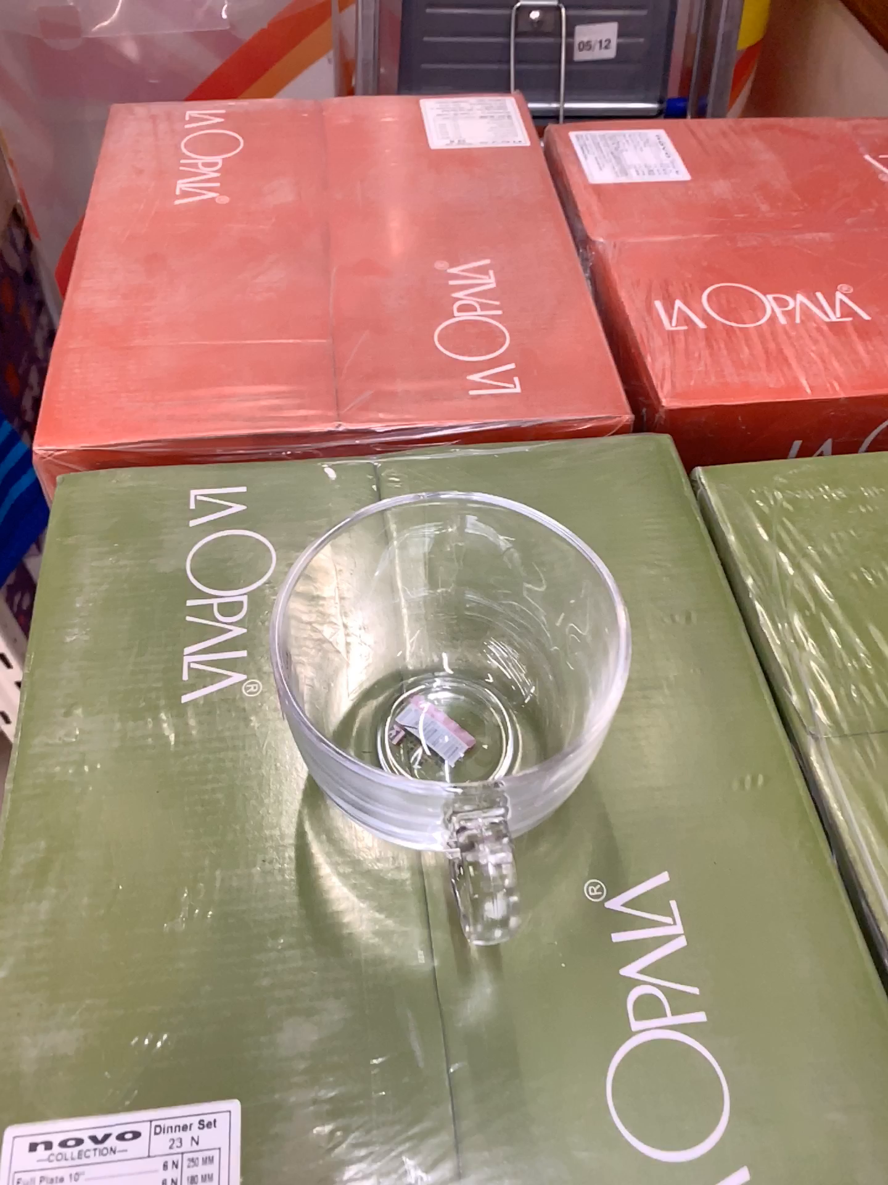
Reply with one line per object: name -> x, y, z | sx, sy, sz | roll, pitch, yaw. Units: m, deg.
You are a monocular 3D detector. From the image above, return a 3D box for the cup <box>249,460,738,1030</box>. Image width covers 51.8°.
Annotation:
cup -> 0.003, 0.045, 0.295 | 0.110, 0.090, 0.140 | -8, 53, -8
